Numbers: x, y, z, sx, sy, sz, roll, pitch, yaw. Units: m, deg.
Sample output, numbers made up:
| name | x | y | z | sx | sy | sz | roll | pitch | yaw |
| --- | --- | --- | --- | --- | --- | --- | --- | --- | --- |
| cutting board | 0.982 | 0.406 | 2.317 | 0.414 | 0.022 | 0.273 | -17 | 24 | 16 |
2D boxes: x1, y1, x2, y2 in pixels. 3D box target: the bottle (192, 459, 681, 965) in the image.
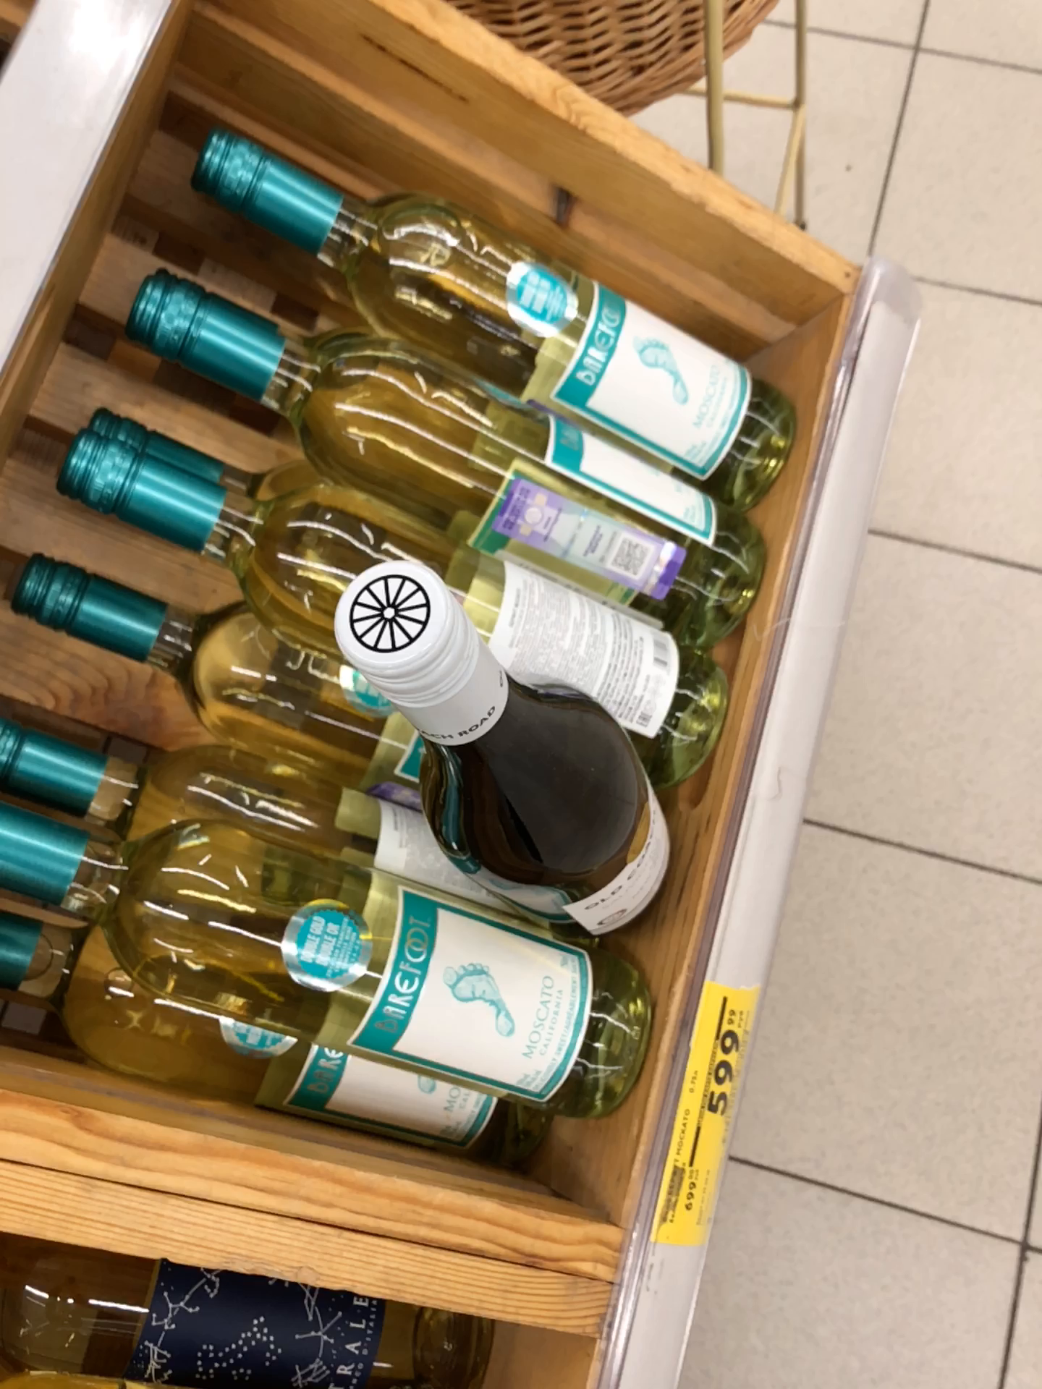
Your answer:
| name | x | y | z | sx | sy | sz | roll | pitch | yaw |
| --- | --- | --- | --- | --- | --- | --- | --- | --- | --- |
| bottle | -0.001 | 0.031 | 0.407 | 0.088 | 0.292 | 0.077 | 12 | 74 | 14 |
